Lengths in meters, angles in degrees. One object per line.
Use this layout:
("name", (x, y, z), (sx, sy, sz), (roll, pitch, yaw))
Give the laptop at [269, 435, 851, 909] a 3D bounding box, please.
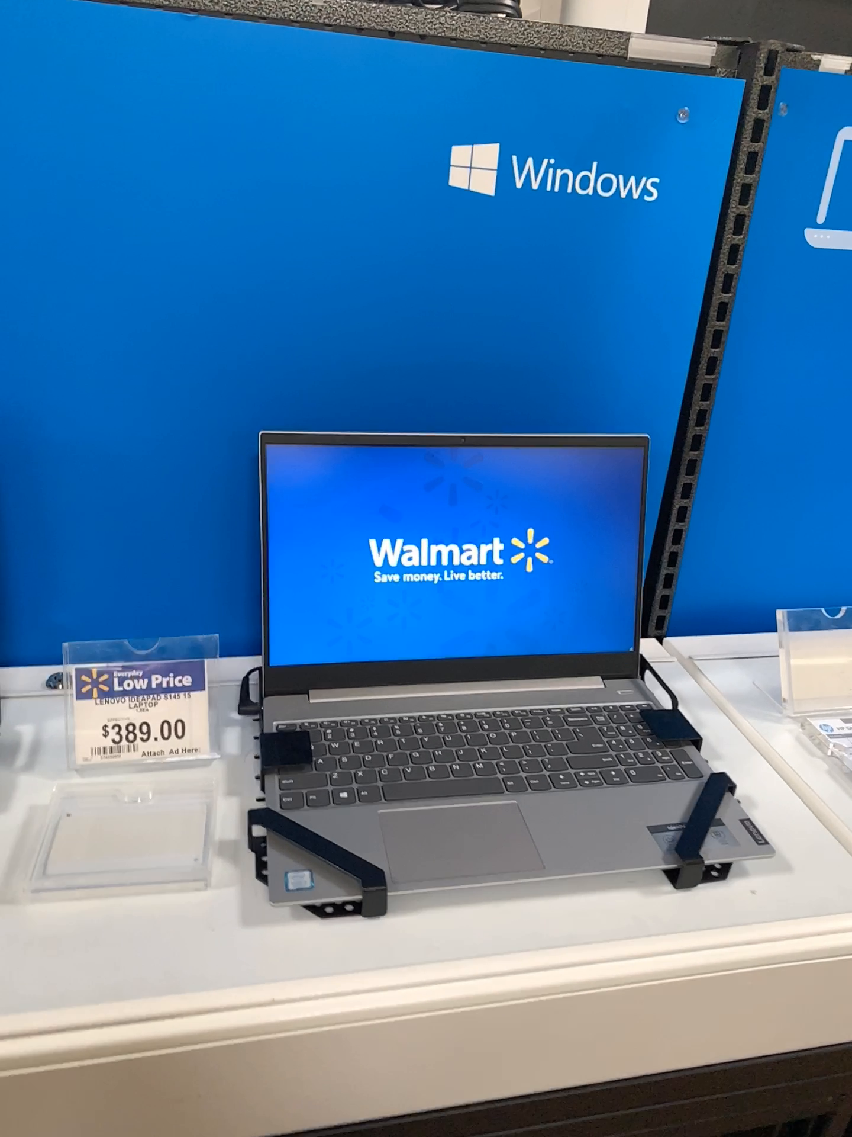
("laptop", (0.060, 0.045, 0.669), (0.350, 0.217, 0.299), (-2, 25, -11))
